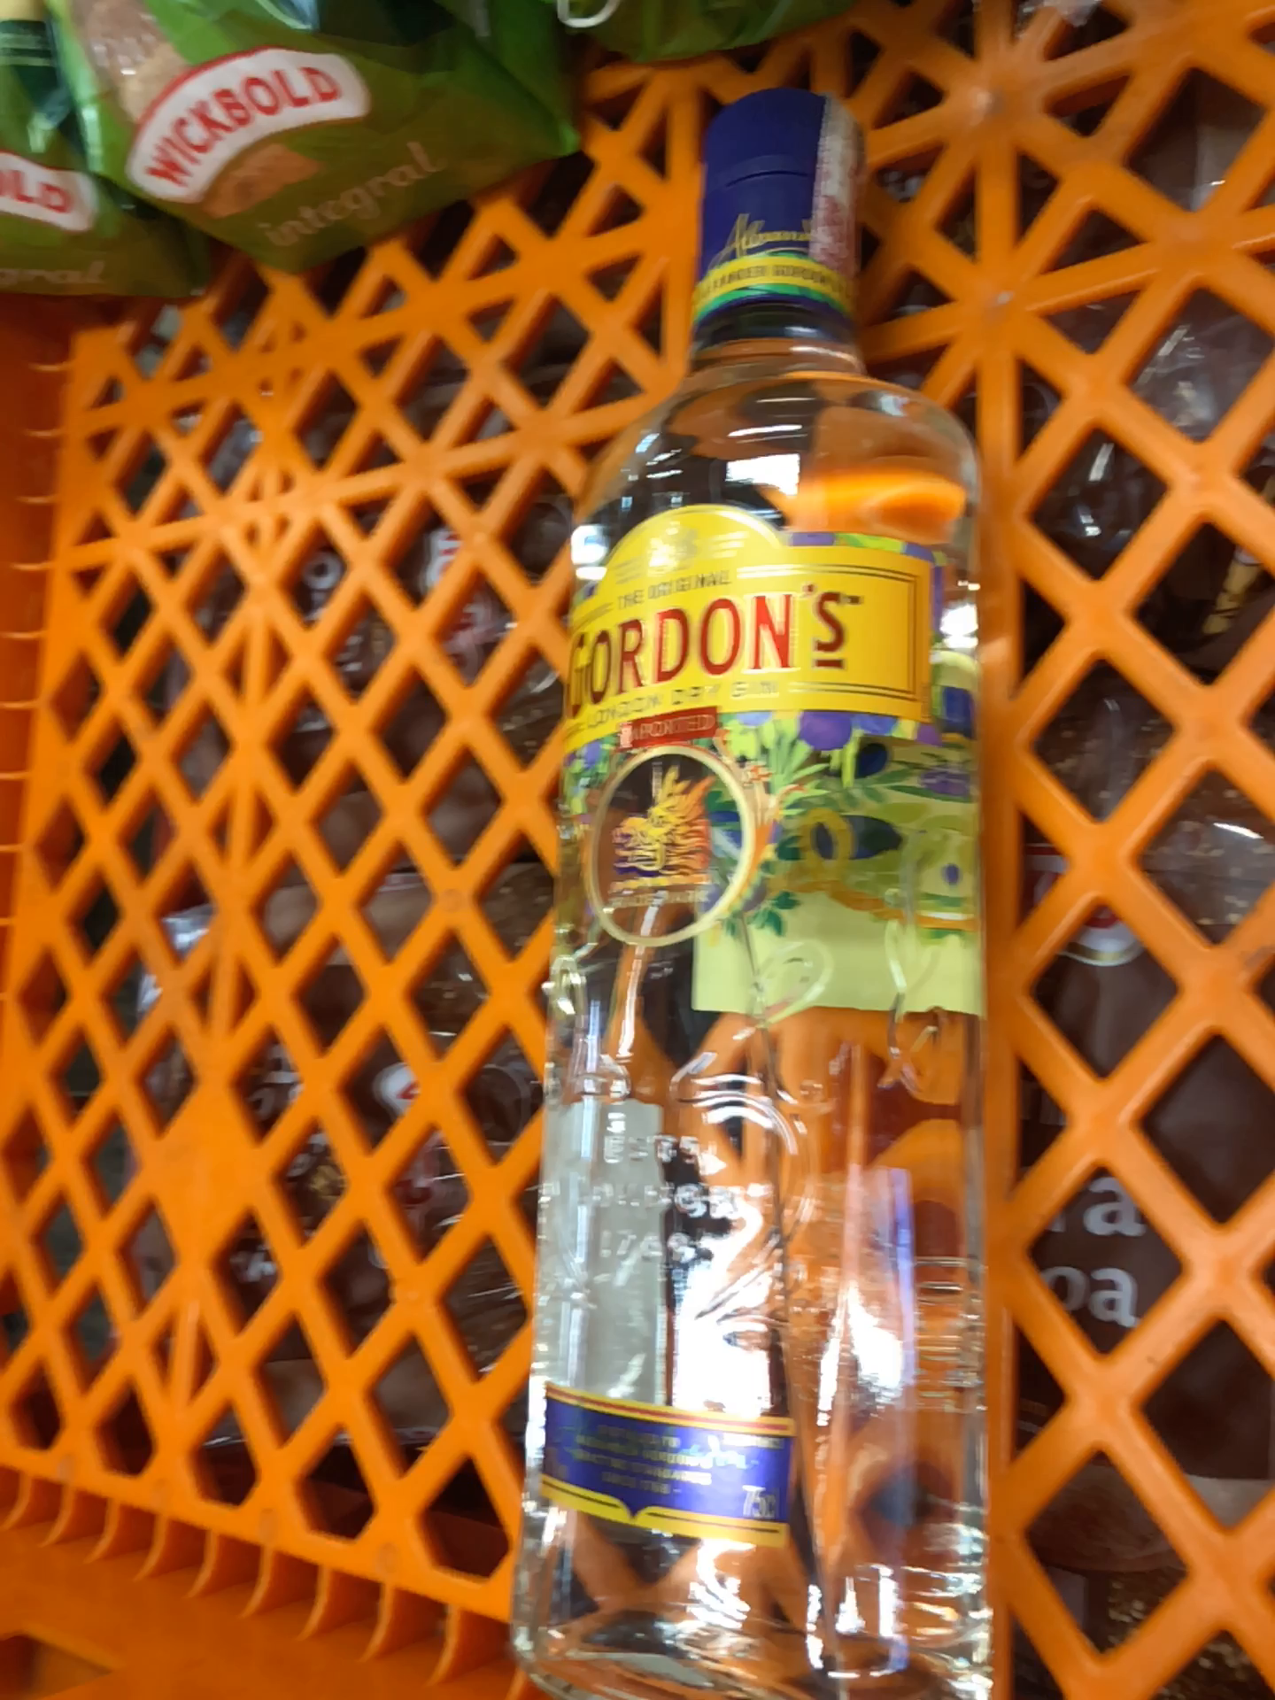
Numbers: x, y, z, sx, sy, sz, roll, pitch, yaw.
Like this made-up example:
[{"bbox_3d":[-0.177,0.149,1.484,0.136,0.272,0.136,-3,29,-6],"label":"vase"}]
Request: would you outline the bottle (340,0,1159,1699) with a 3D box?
[{"bbox_3d":[0.027,-0.013,0.260,0.100,0.100,0.310,-4,79,32],"label":"bottle"}]
